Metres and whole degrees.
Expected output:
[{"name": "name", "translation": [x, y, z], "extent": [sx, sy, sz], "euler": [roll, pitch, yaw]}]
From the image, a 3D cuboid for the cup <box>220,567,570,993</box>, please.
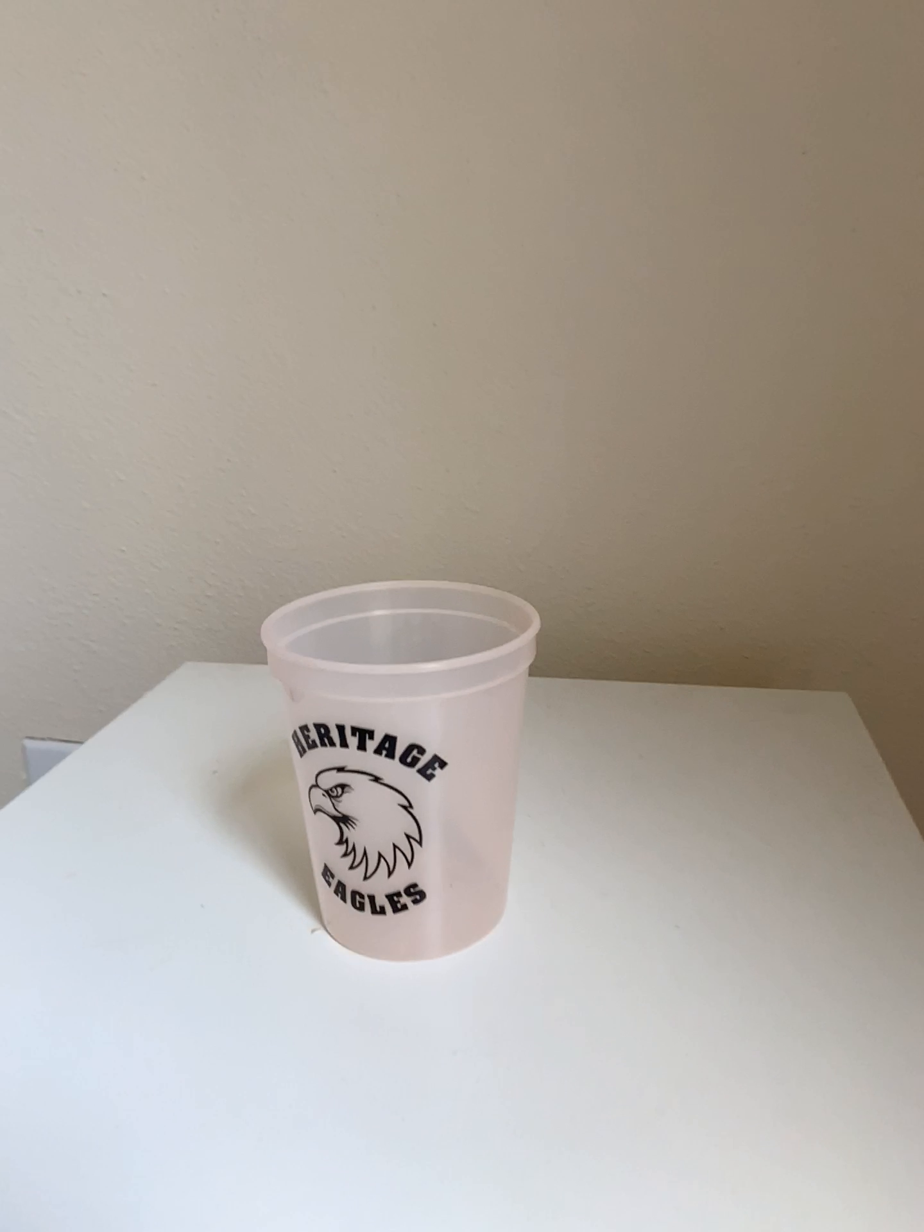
[{"name": "cup", "translation": [-0.018, 0.049, 0.335], "extent": [0.090, 0.110, 0.080], "euler": [6, 19, 23]}]
